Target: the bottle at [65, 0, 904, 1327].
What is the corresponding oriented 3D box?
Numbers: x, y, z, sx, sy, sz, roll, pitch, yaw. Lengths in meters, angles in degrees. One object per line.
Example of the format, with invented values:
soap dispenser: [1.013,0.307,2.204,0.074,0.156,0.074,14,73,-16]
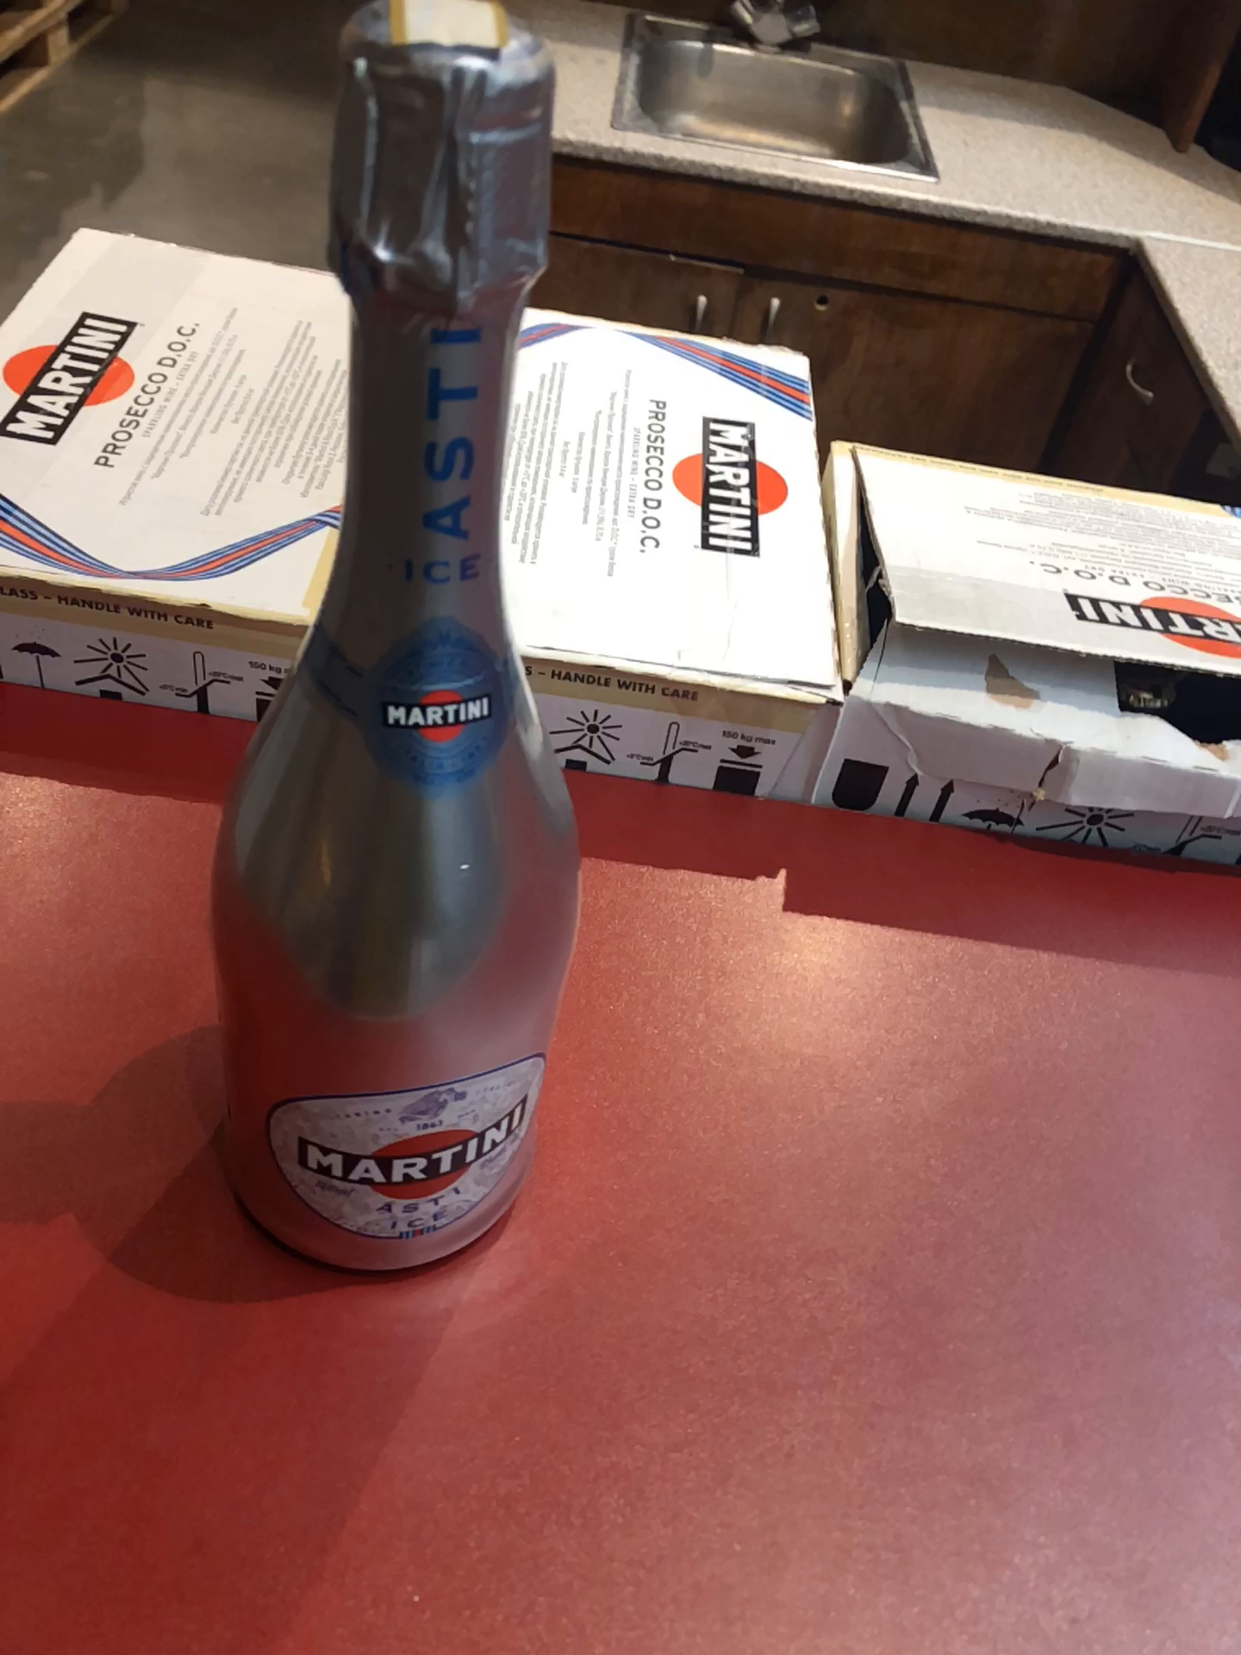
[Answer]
bottle: [-0.046,-0.015,0.300,0.100,0.298,0.101,6,45,-6]
